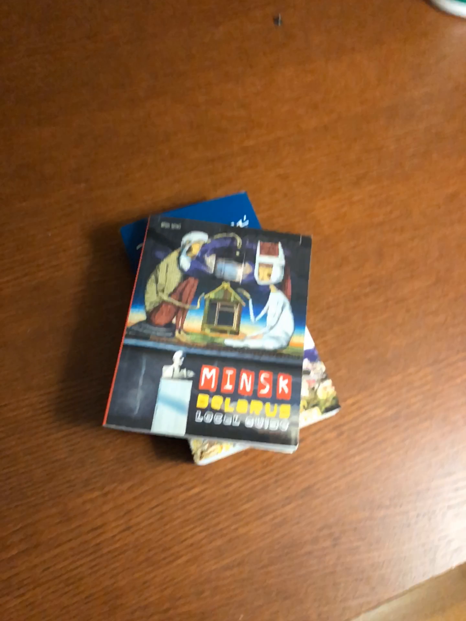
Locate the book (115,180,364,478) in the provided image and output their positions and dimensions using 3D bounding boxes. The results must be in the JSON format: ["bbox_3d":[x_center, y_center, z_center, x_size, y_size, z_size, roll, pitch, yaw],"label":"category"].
[{"bbox_3d":[-0.002,0.006,0.430,0.130,0.040,0.220,-17,69,-11],"label":"book"}]

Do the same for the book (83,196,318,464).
[{"bbox_3d":[-0.015,0.008,0.385,0.150,0.020,0.190,7,66,-1],"label":"book"}]
